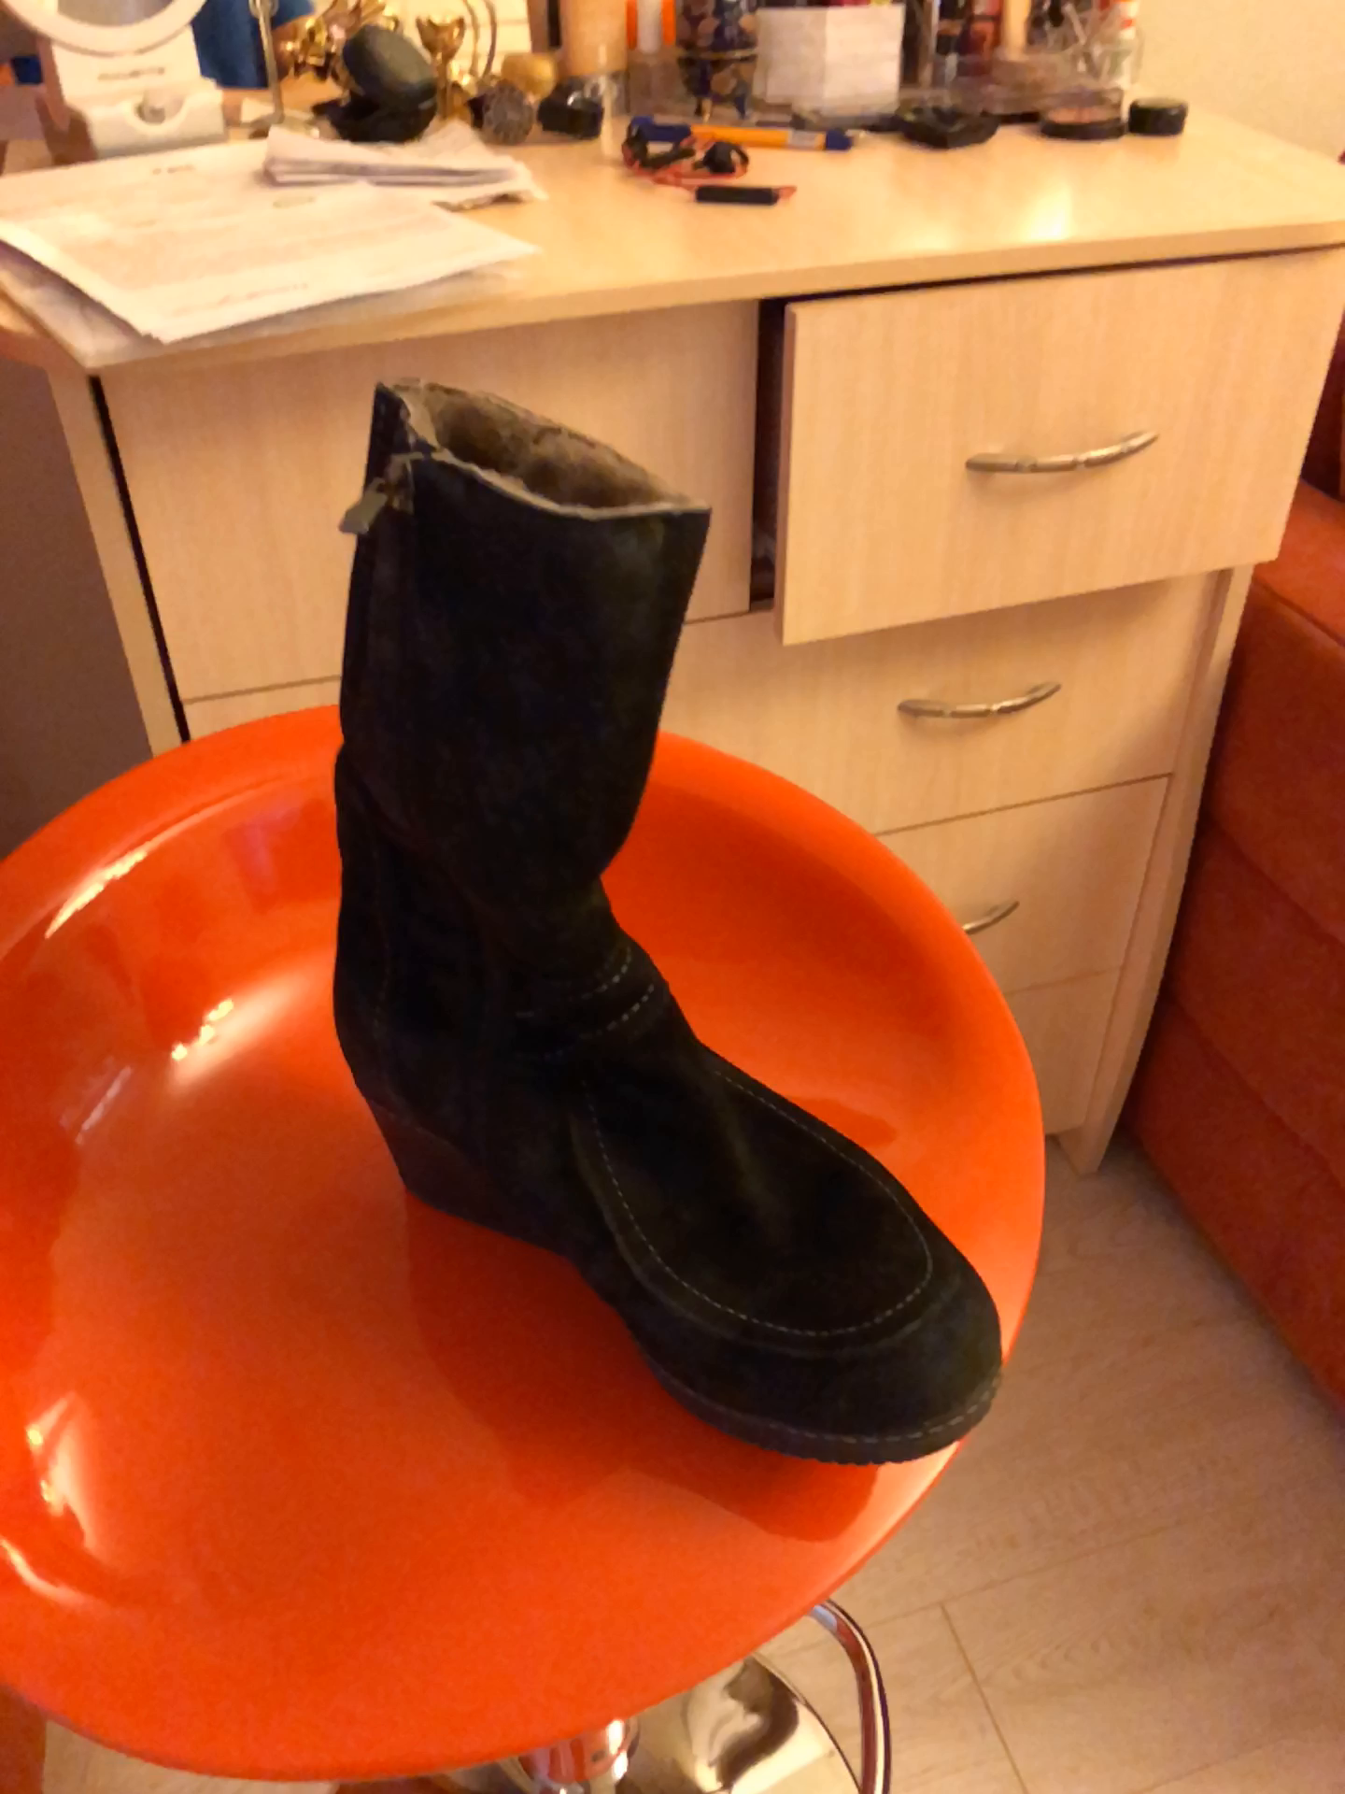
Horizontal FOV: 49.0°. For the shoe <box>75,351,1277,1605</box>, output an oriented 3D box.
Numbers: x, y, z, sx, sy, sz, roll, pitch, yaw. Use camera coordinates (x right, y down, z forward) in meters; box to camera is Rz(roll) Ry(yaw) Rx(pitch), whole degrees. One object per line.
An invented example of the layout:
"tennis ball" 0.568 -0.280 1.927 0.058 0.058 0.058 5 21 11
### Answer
"shoe" -0.010 0.015 0.405 0.261 0.248 0.101 25 46 29
